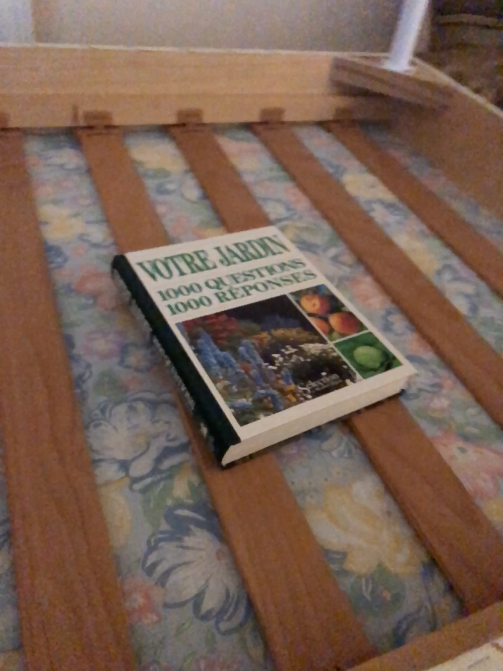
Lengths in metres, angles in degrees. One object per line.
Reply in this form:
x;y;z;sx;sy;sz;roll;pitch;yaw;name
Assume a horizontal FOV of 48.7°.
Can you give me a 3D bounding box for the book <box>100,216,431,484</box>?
0.001;-0.013;0.561;0.221;0.050;0.271;-16;48;-26;book
